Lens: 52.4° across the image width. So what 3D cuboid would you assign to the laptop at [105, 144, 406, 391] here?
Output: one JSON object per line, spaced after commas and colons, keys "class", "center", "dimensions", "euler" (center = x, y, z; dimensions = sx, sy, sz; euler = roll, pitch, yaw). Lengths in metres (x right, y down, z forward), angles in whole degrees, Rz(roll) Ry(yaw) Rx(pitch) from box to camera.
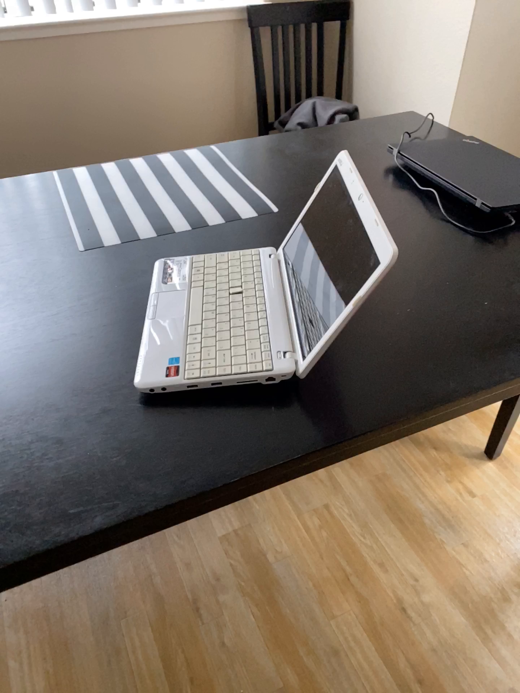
{"class": "laptop", "center": [-0.013, -0.117, 0.687], "dimensions": [0.301, 0.153, 0.296], "euler": [-5, 40, 0]}
